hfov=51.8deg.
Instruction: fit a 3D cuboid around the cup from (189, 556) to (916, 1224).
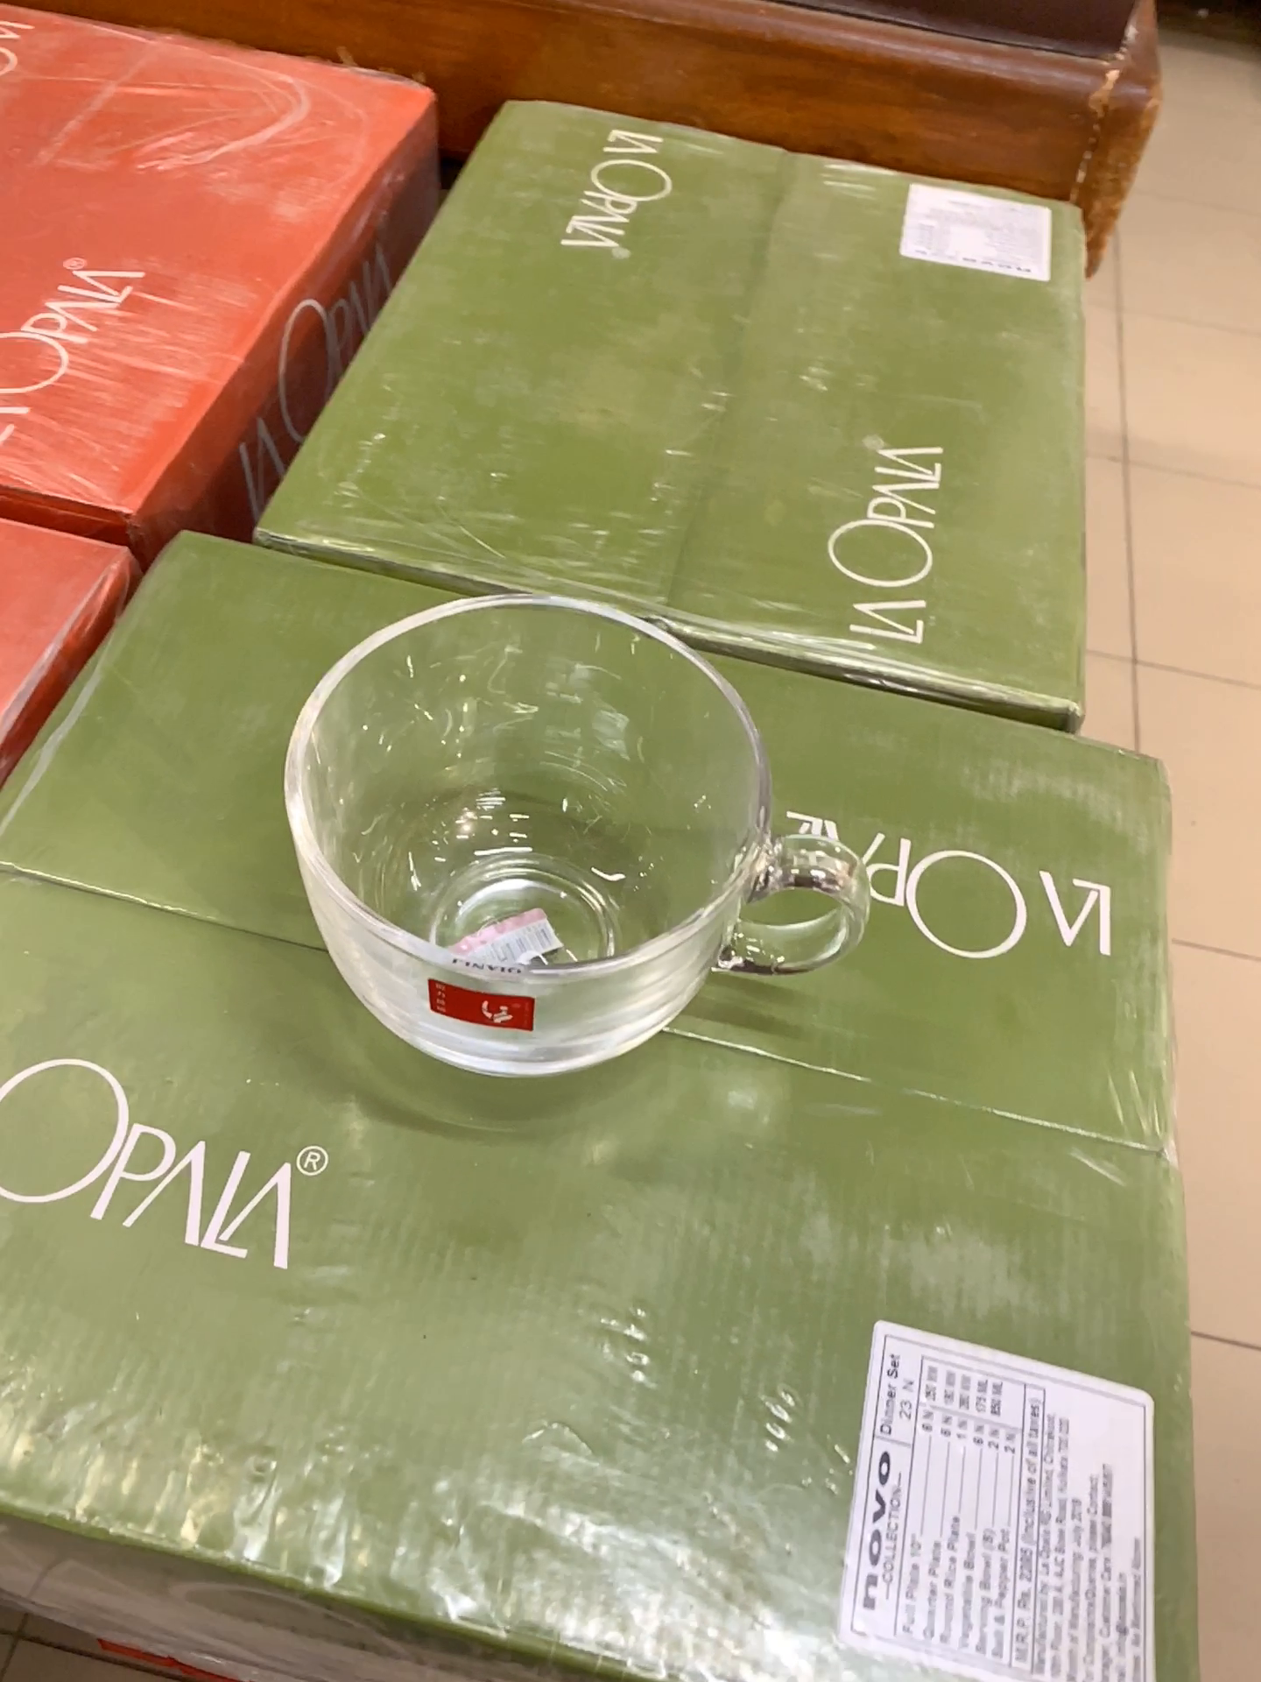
[{"bbox_3d":[-0.012,0.012,0.317,0.140,0.090,0.110,10,53,1],"label":"cup"}]
